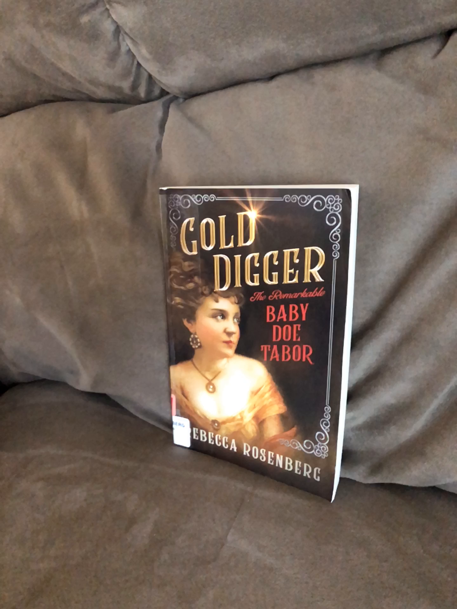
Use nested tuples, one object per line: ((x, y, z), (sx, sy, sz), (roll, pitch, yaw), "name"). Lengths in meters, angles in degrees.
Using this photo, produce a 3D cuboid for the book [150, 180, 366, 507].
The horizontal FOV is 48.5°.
((0.012, 0.018, 0.355), (0.150, 0.200, 0.030), (9, 14, 35), "book")
